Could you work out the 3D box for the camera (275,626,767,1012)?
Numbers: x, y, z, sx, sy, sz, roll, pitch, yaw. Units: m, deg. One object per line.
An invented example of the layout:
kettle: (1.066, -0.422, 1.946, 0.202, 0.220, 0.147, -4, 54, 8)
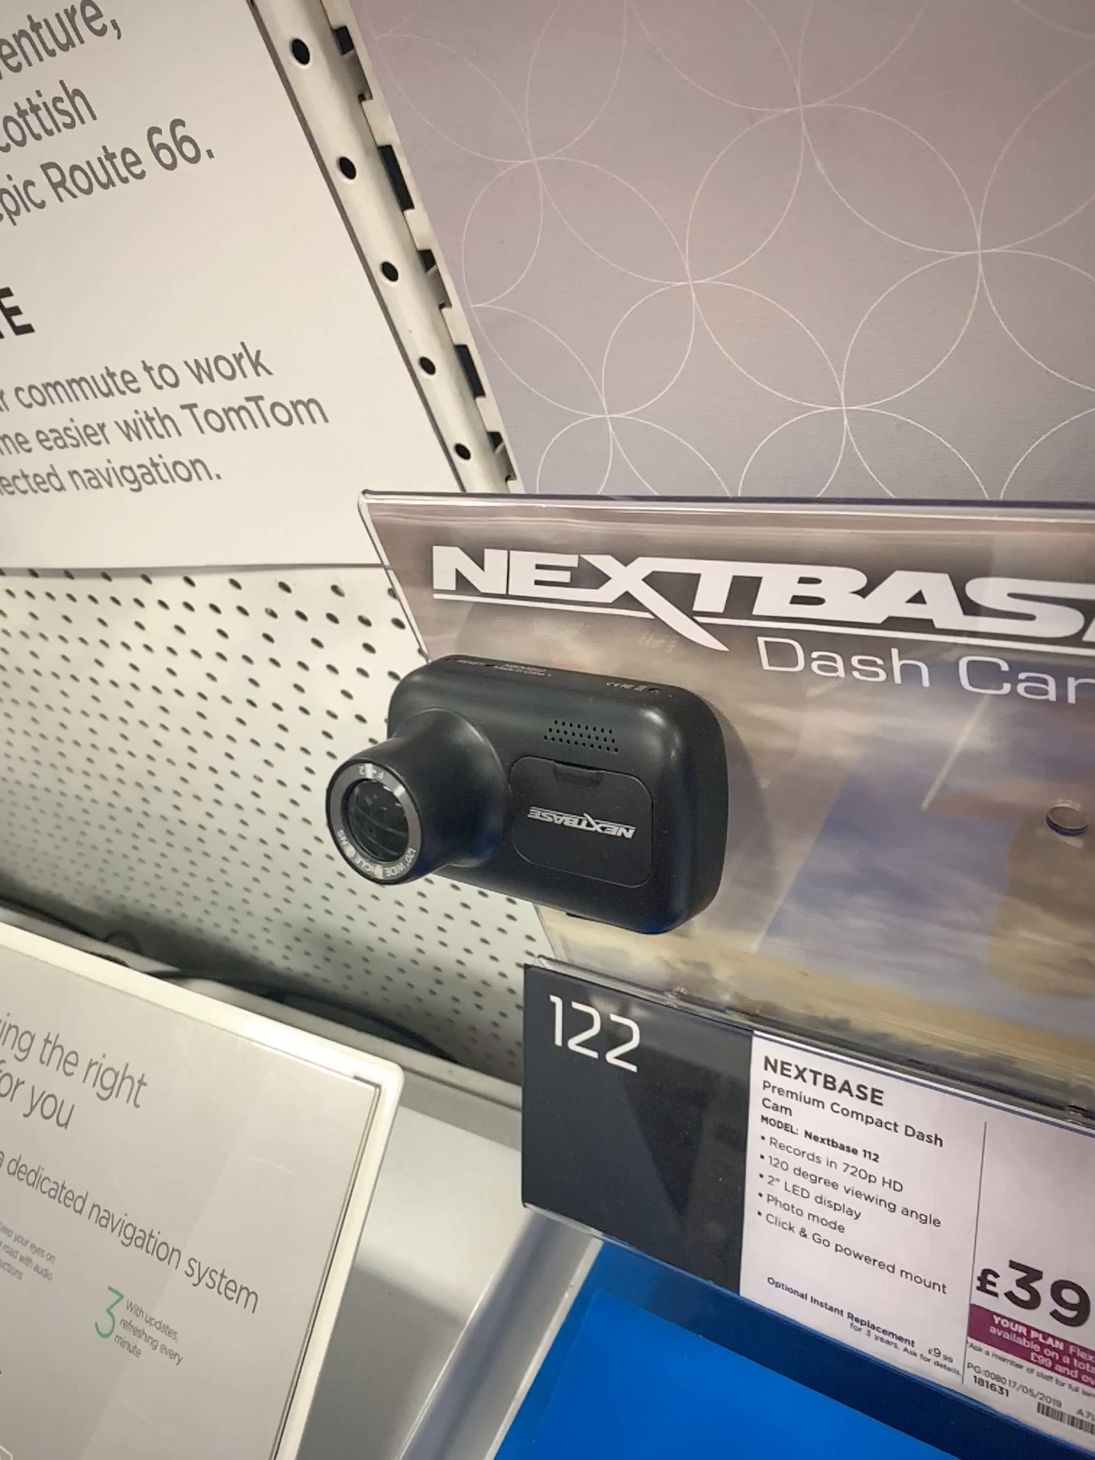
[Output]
camera: (-0.005, 0.012, 0.236, 0.080, 0.050, 0.060, 11, 20, 37)
